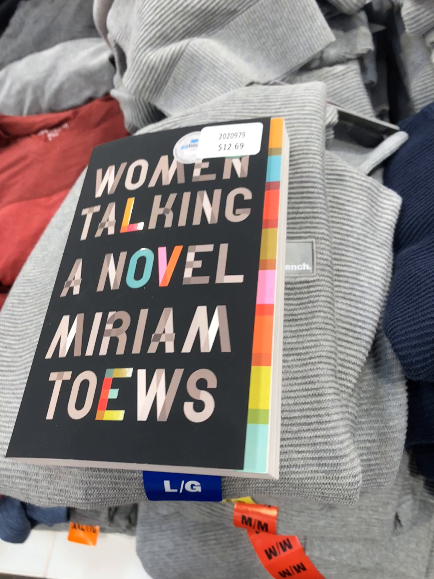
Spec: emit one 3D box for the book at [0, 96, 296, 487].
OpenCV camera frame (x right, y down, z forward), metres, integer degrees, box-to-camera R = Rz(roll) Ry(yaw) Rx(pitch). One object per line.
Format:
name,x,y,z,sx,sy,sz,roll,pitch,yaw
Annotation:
book,-0.028,-0.010,0.266,0.135,0.020,0.211,-5,61,20
